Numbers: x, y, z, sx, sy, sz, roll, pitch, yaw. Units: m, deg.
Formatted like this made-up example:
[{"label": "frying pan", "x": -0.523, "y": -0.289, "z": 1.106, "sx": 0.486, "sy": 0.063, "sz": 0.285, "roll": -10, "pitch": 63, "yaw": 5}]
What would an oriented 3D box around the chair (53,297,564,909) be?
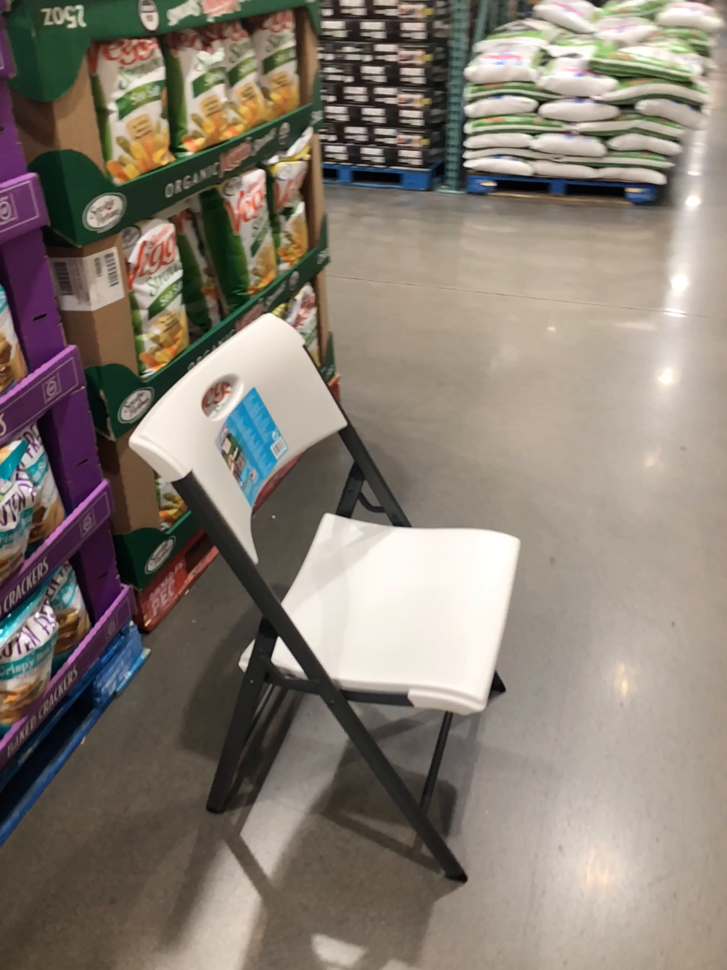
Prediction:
[{"label": "chair", "x": -0.025, "y": 0.176, "z": 1.372, "sx": 0.594, "sy": 0.790, "sz": 0.548, "roll": 8, "pitch": 35, "yaw": 15}]
